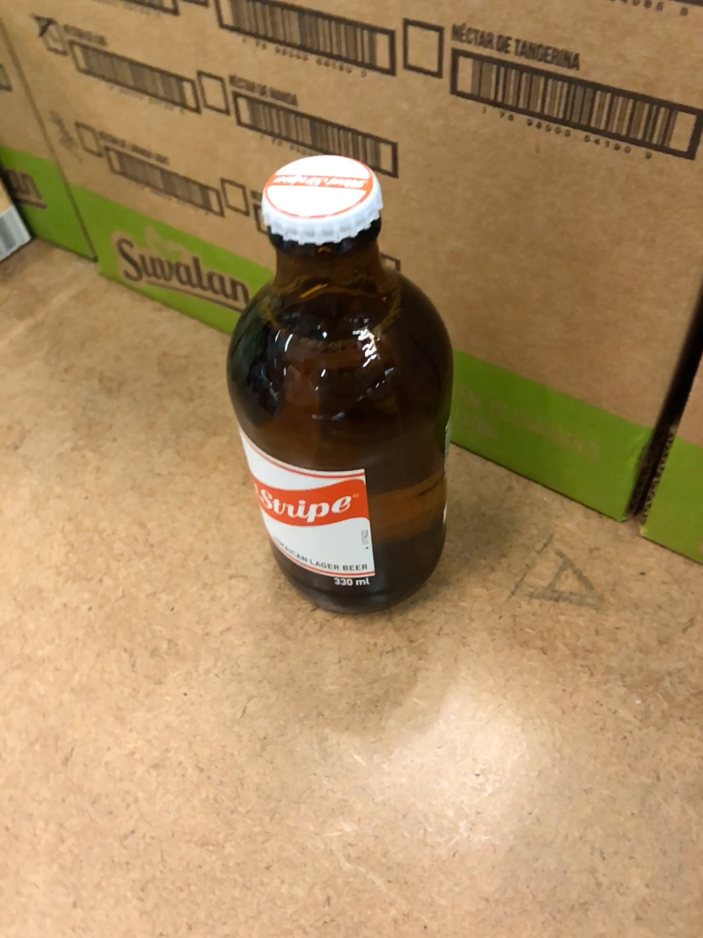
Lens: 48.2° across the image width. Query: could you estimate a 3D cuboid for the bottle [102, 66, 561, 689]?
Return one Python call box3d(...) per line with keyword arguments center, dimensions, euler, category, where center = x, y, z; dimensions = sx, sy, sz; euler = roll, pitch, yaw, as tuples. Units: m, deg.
box3d(center=(-0.002, -0.017, 0.239), dimensions=(0.070, 0.159, 0.080), euler=(-33, 56, -20), category="bottle")
